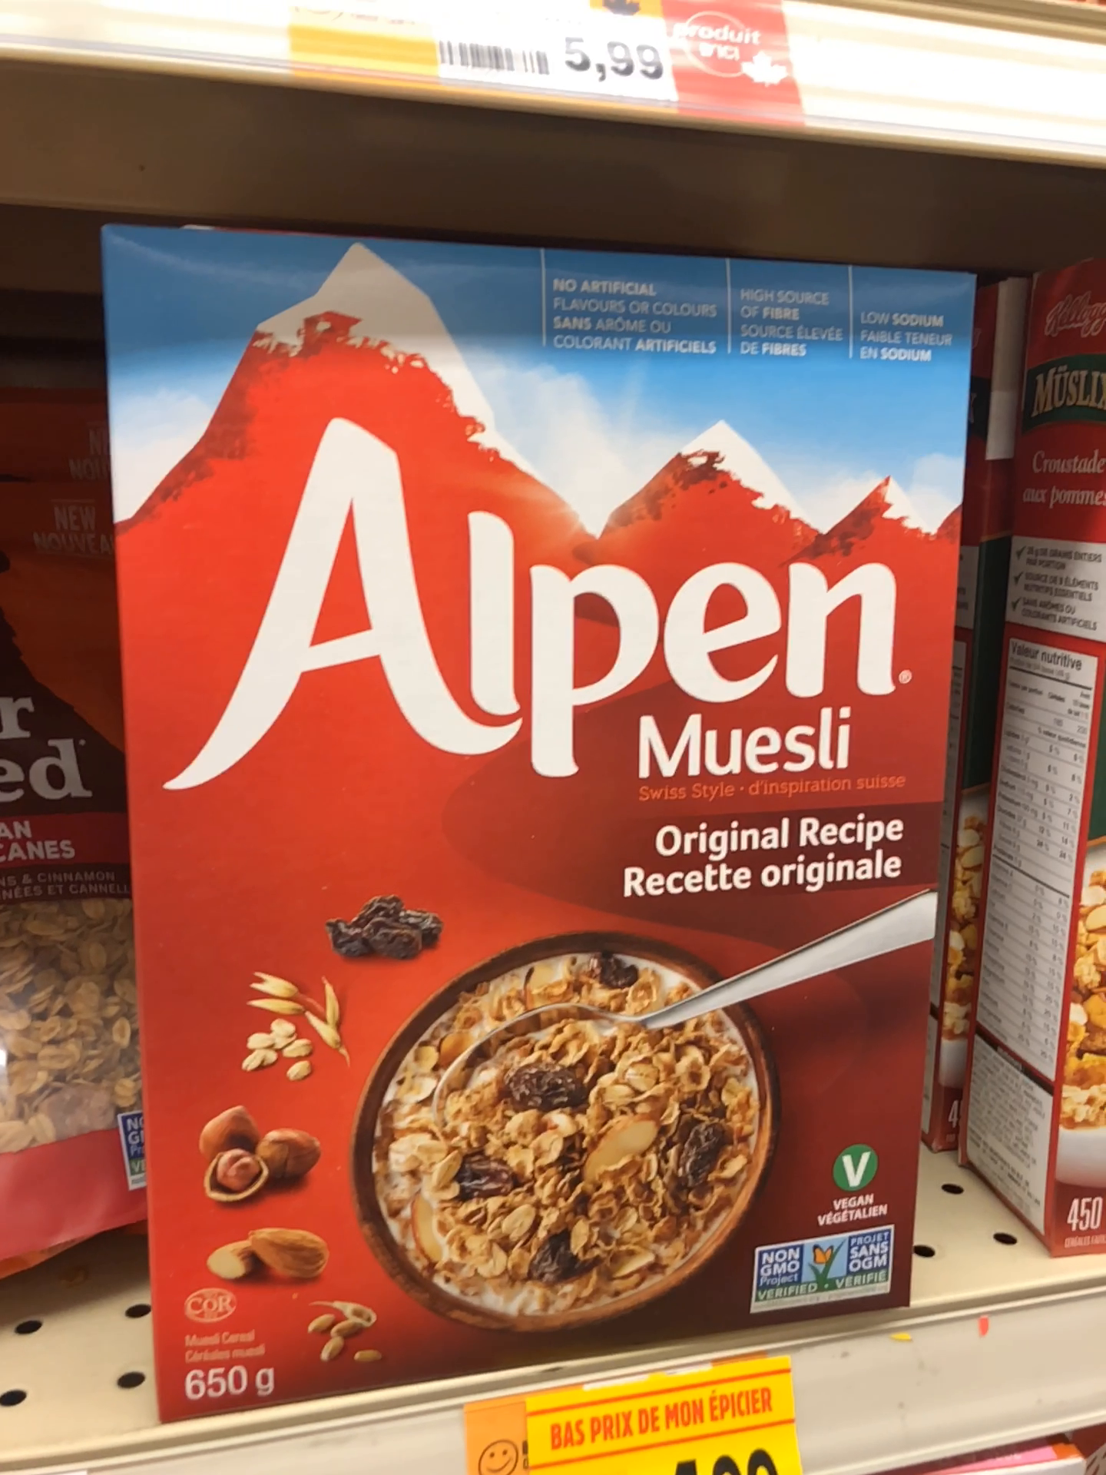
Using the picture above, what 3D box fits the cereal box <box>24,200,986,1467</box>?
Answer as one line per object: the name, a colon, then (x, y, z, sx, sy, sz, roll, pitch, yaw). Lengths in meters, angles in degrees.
cereal box: (-0.010, 0.020, 0.275, 0.180, 0.239, 0.060, -2, 11, -15)
